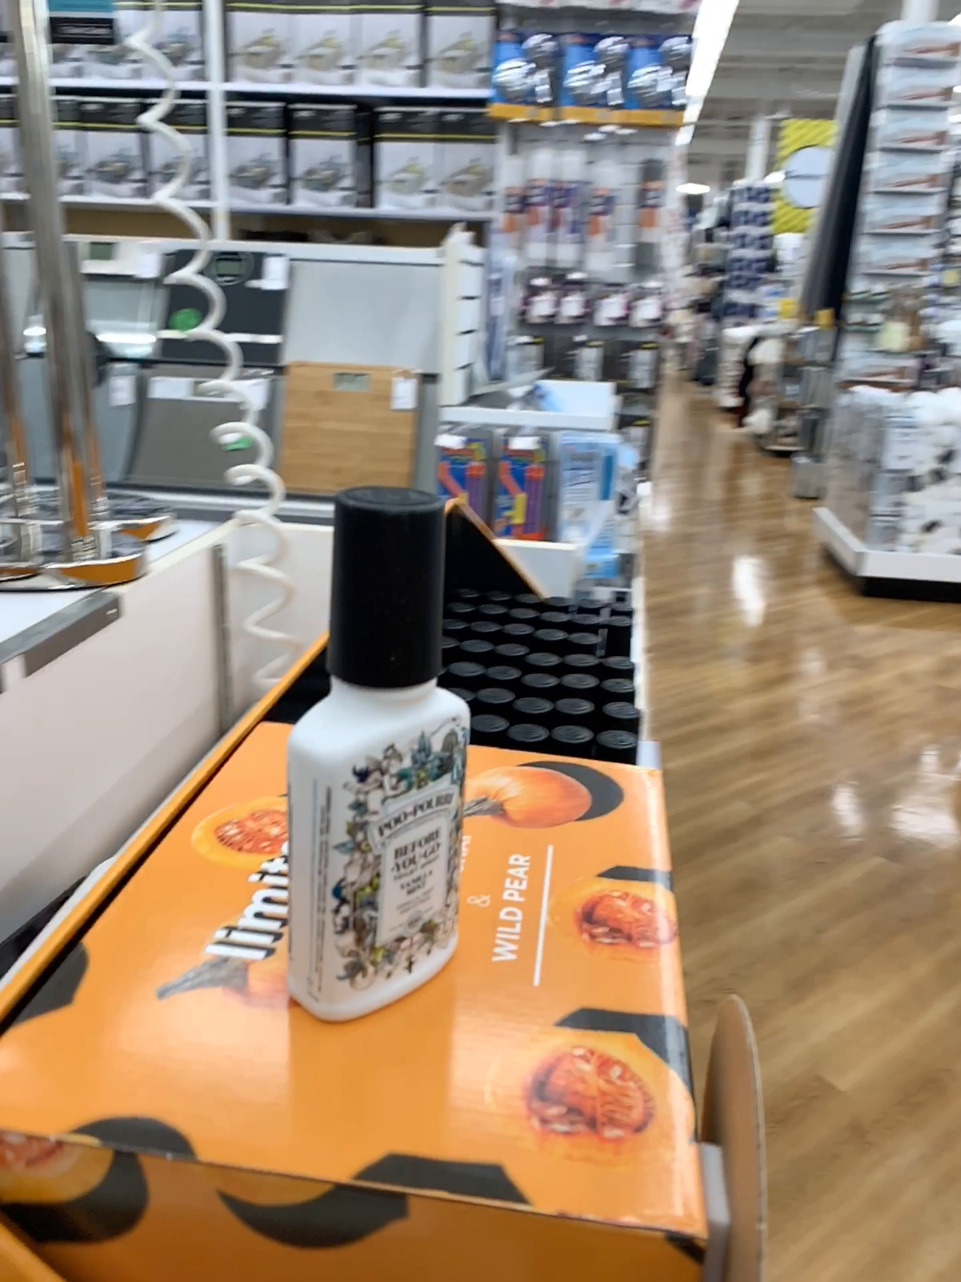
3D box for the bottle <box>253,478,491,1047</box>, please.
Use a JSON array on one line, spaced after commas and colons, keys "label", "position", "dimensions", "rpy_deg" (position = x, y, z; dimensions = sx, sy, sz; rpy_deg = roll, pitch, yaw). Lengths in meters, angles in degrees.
[{"label": "bottle", "position": [-0.031, 0.034, 0.286], "dimensions": [0.033, 0.151, 0.055], "rpy_deg": [18, 24, 38]}]
